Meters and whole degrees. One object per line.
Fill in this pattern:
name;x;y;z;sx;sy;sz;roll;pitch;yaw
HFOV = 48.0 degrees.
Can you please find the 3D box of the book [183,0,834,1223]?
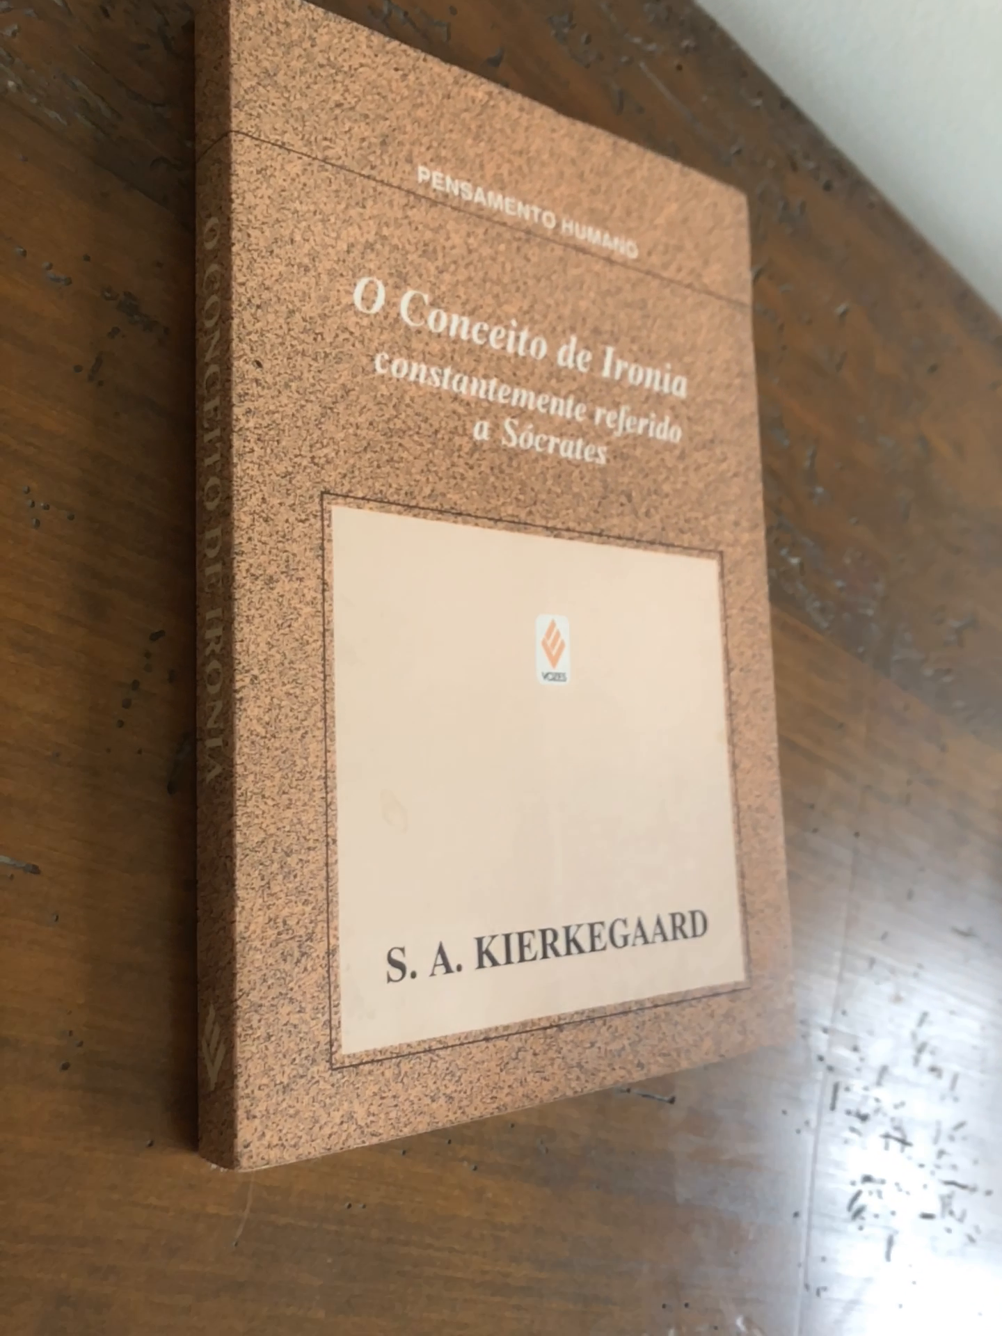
book;0.008;-0.020;0.238;0.145;0.024;0.220;3;81;-37
